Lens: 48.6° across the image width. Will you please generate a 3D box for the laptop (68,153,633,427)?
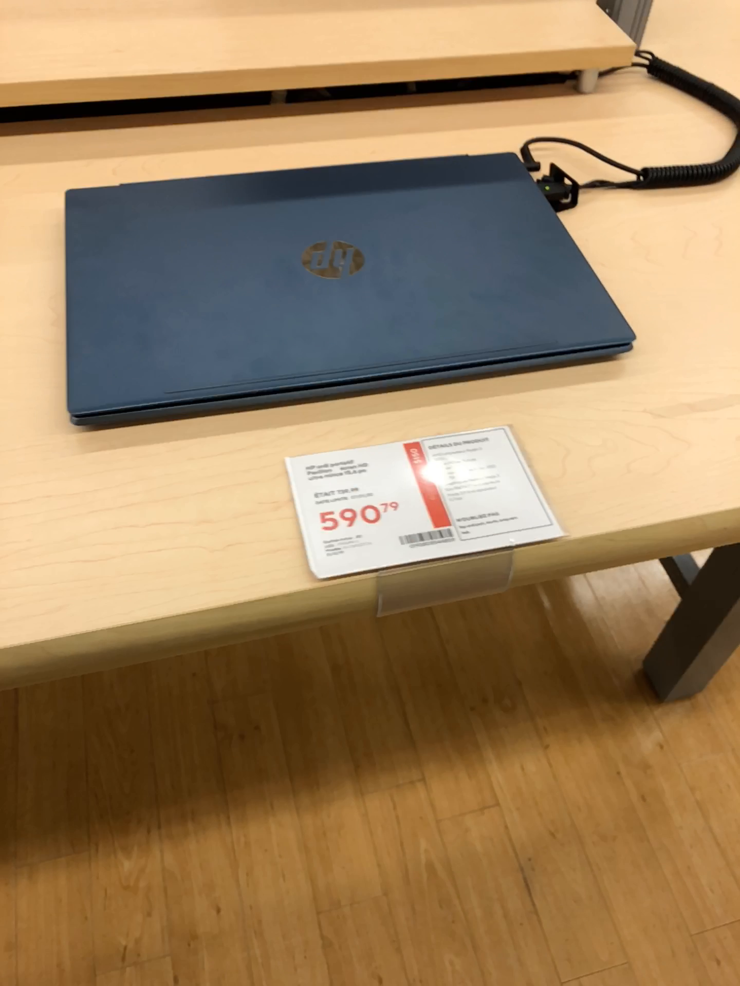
[{"bbox_3d":[-0.026,-0.158,0.579,0.352,0.012,0.221,-9,55,-9],"label":"laptop"}]
